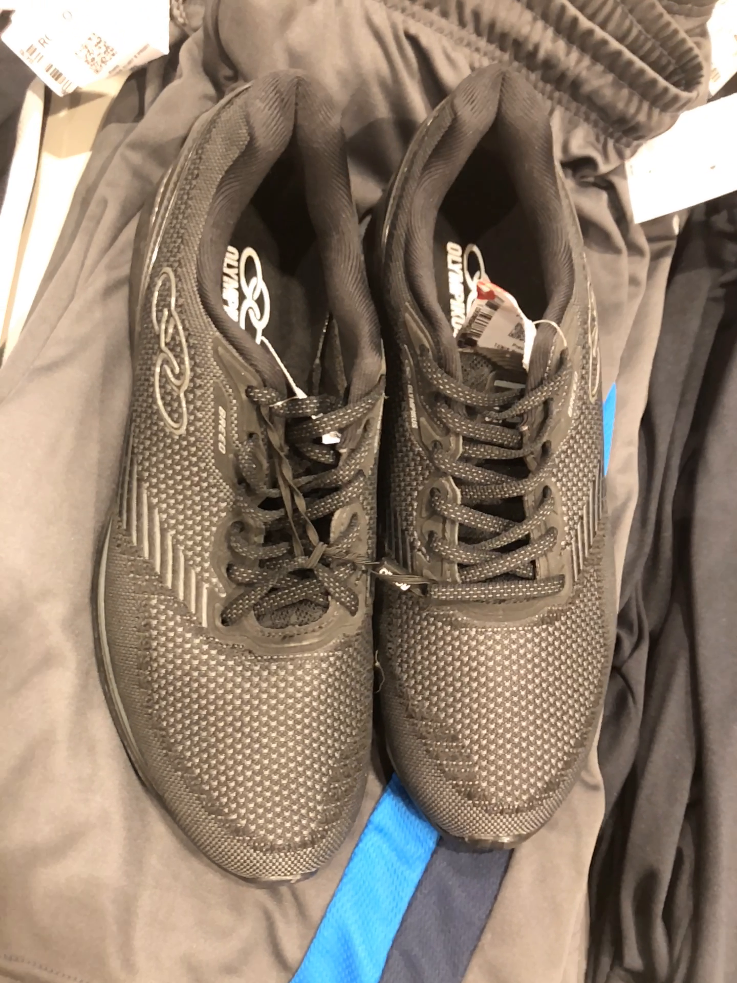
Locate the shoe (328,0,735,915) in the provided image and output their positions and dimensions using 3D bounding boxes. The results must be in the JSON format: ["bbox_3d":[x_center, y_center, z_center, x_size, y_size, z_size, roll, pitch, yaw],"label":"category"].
[{"bbox_3d":[0.043,-0.017,0.299,0.100,0.100,0.280,1,79,-11],"label":"shoe"}]

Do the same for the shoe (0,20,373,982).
[{"bbox_3d":[-0.060,0.003,0.277,0.100,0.100,0.270,1,79,-11],"label":"shoe"}]
